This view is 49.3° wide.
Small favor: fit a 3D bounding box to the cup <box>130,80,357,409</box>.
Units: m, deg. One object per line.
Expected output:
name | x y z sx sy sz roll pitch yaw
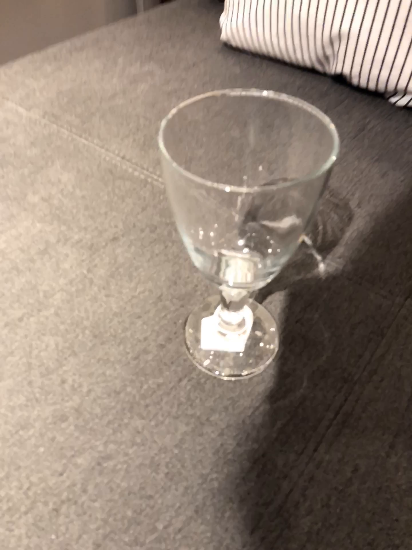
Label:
cup | 0.020 -0.008 0.269 0.090 0.170 0.090 1 48 -1
